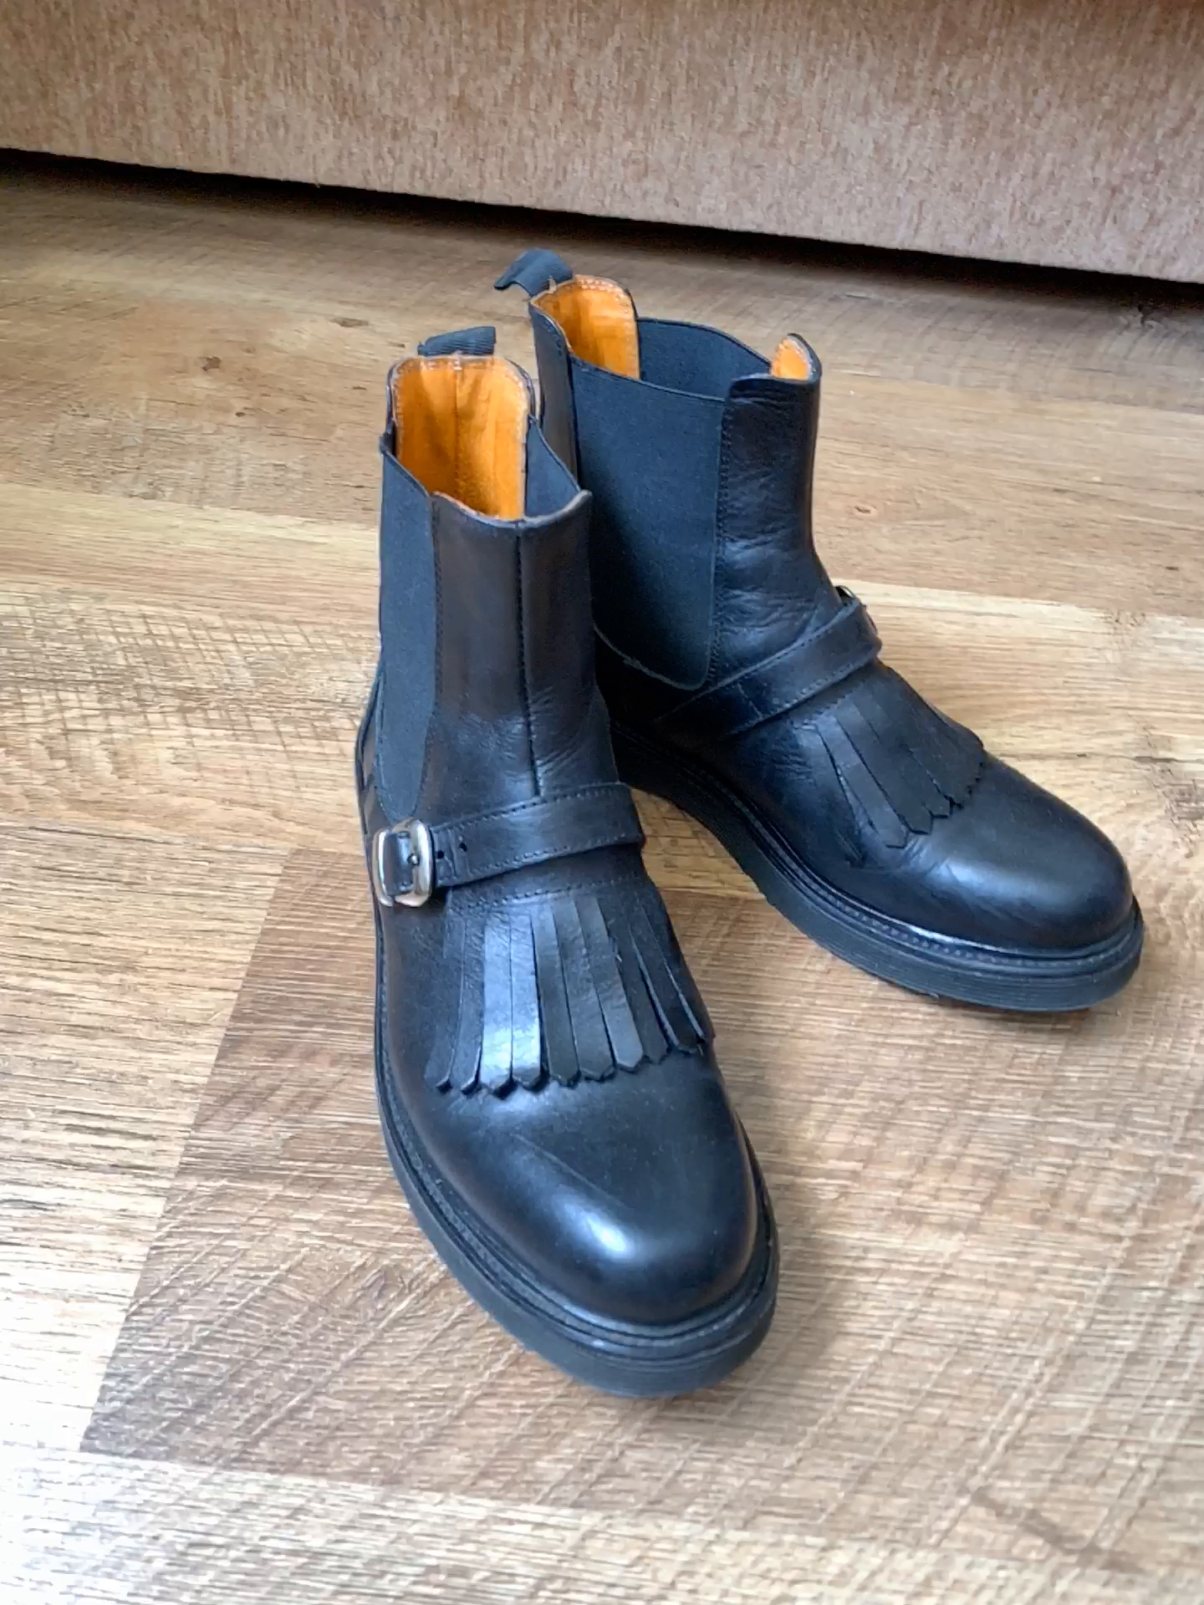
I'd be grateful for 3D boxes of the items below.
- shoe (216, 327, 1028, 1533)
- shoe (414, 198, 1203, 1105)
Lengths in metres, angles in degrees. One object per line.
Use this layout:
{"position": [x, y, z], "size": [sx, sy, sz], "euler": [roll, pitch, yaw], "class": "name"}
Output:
{"position": [-0.024, 0.014, 0.320], "size": [0.089, 0.151, 0.261], "euler": [-12, 49, -17], "class": "shoe"}
{"position": [0.072, -0.057, 0.383], "size": [0.261, 0.149, 0.100], "euler": [34, 53, 24], "class": "shoe"}
